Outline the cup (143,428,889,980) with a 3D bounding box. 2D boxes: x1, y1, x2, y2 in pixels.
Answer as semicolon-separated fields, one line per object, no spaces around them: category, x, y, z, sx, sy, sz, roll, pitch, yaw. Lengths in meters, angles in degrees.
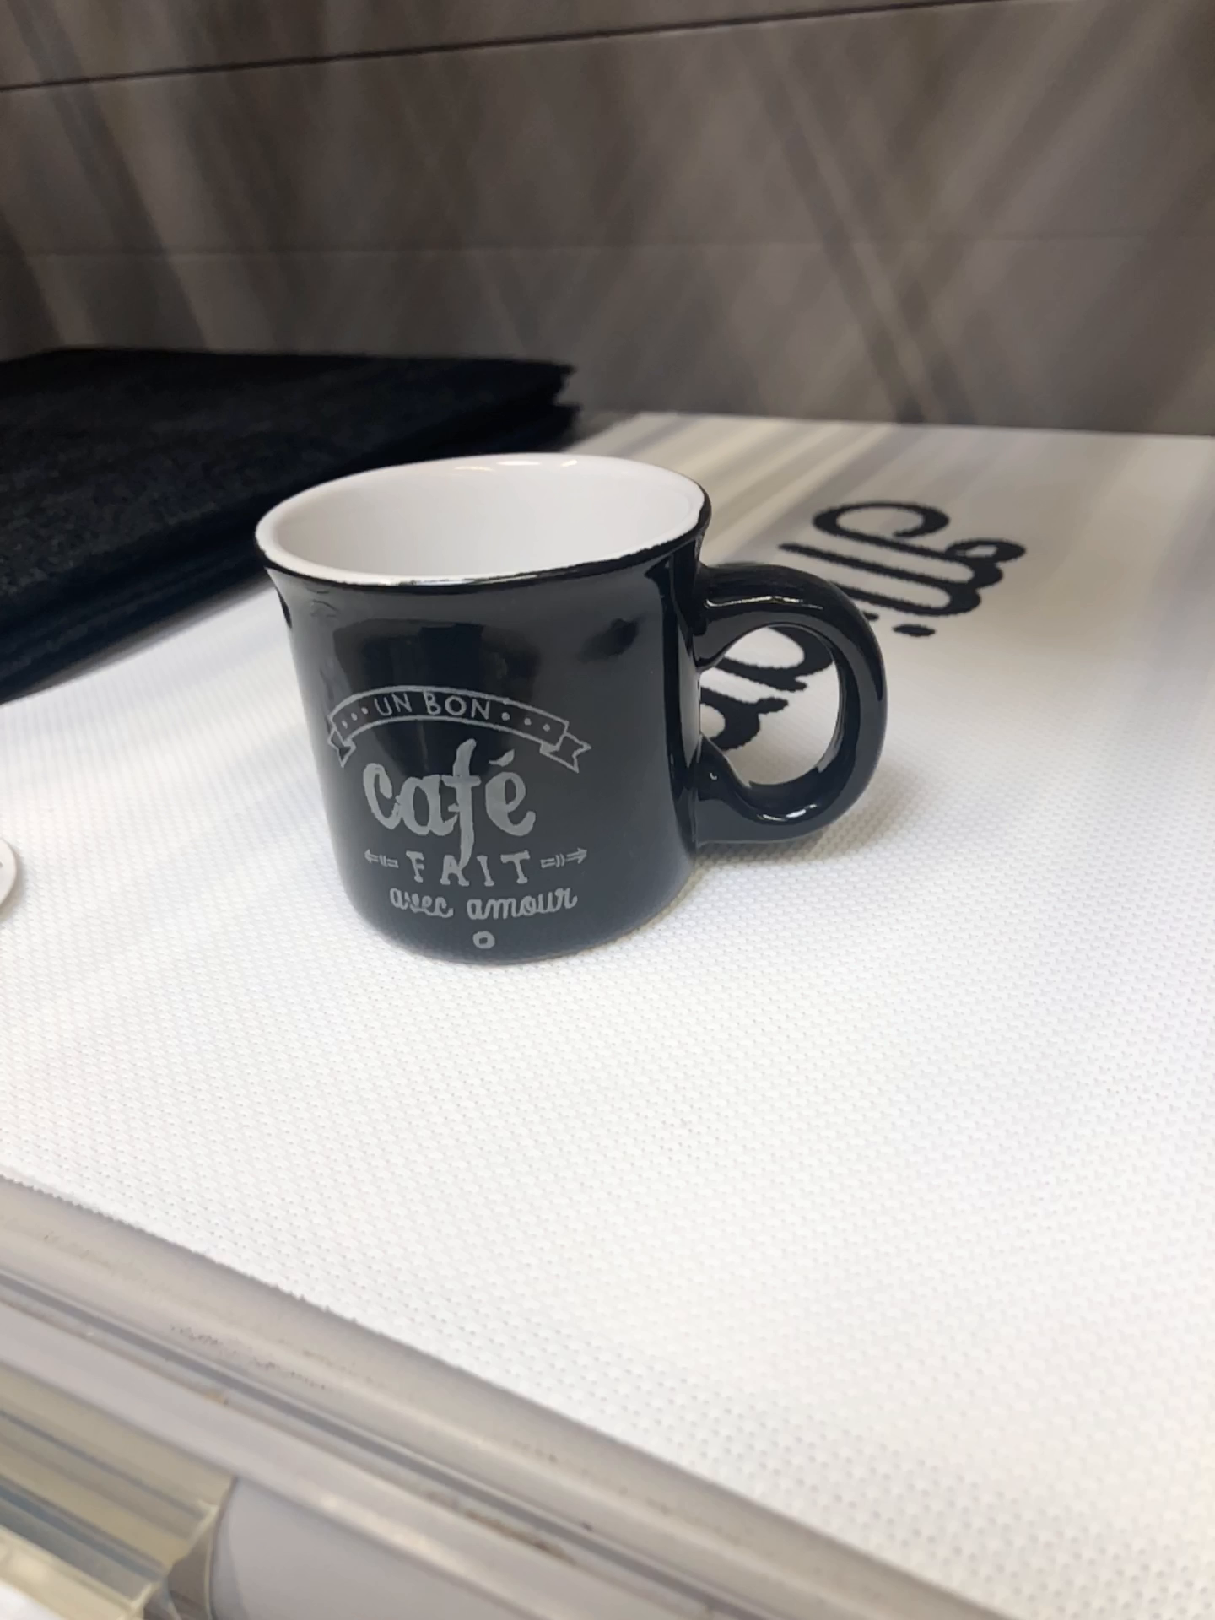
cup;-0.007;-0.021;0.227;0.100;0.064;0.075;0;29;7
